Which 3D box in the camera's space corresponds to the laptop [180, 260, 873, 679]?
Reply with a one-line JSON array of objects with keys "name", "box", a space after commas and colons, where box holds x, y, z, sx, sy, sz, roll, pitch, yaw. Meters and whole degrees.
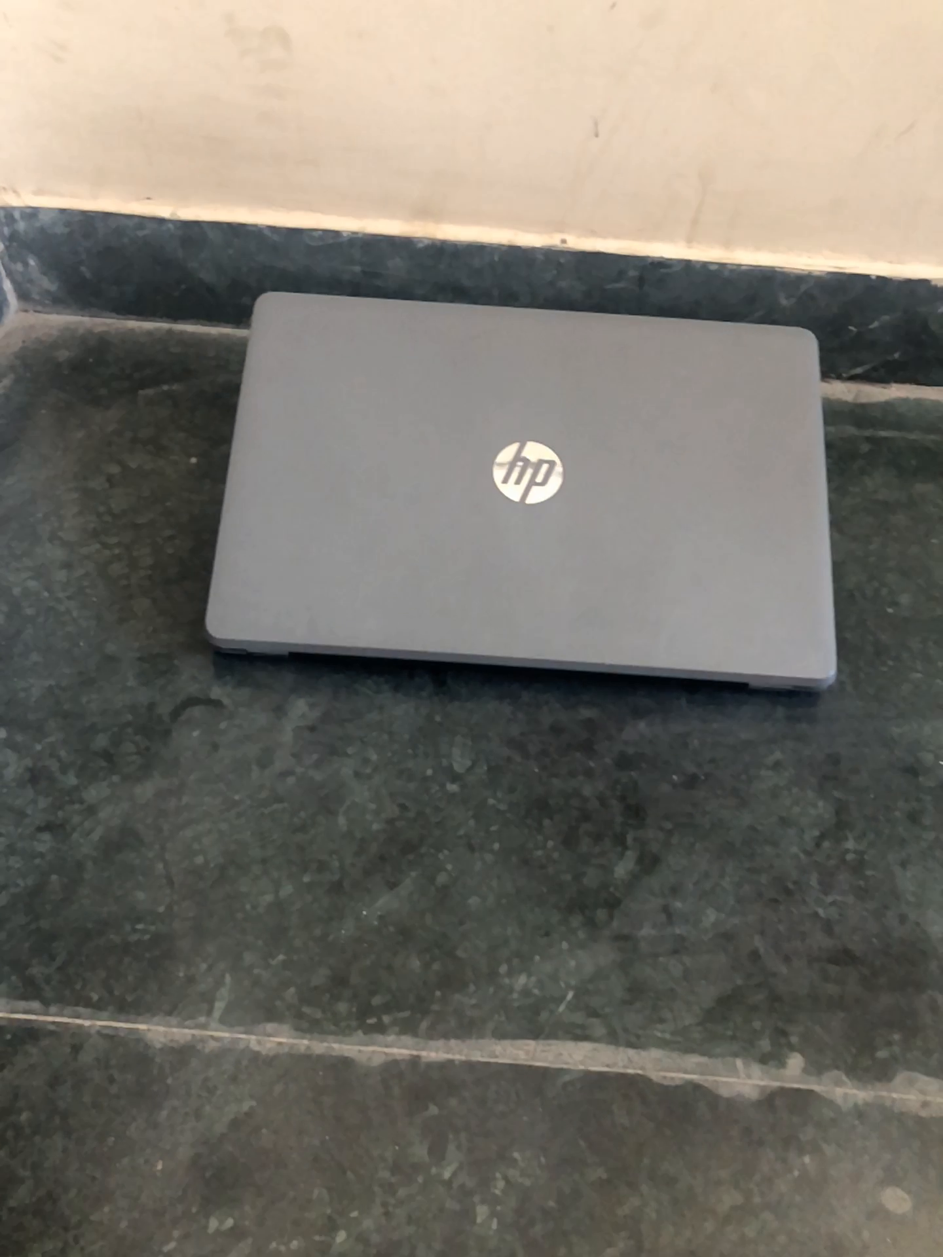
[{"name": "laptop", "box": [0.033, -0.107, 0.646, 0.357, 0.092, 0.244, 4, 51, 0]}]
